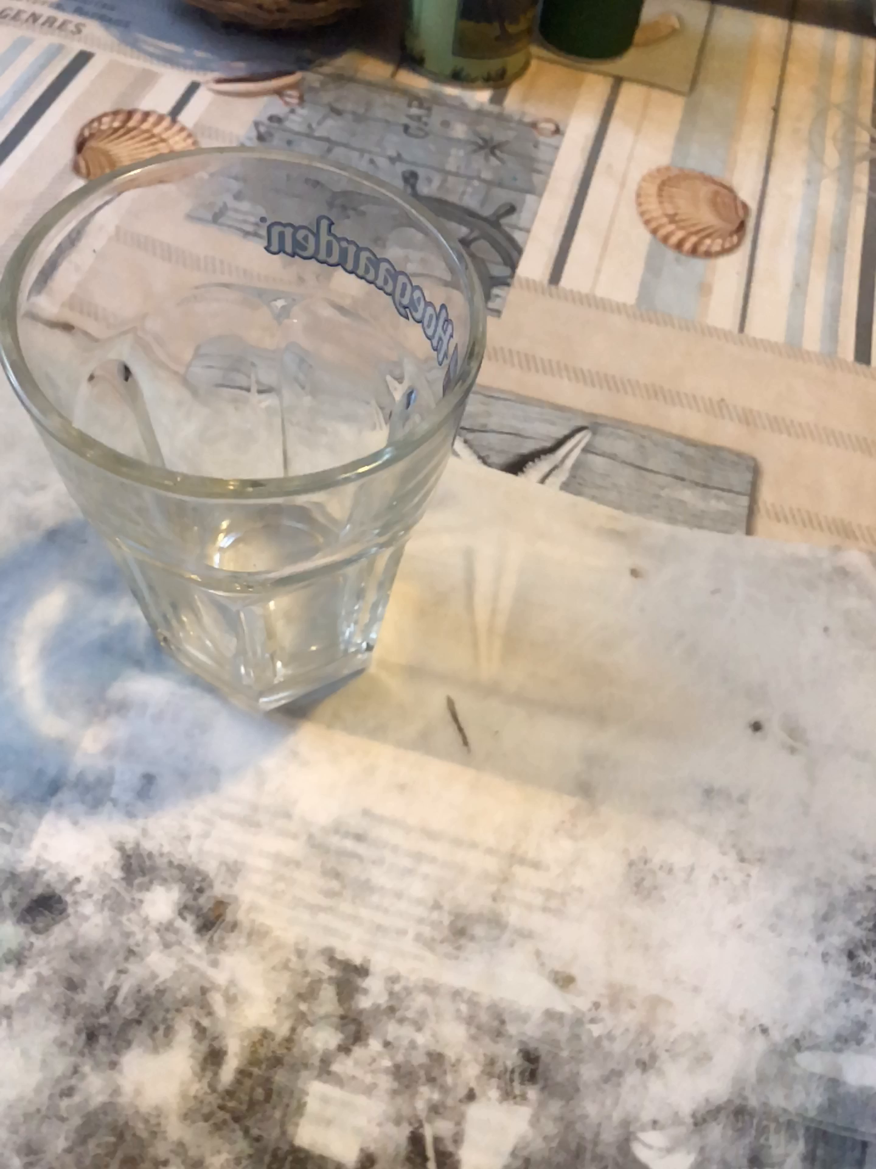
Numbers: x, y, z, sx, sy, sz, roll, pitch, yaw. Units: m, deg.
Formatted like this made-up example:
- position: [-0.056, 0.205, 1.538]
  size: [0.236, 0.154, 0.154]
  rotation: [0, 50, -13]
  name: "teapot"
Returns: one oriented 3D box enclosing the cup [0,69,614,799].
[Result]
- position: [-0.040, -0.031, 0.250]
  size: [0.099, 0.123, 0.099]
  rotation: [4, 61, -8]
  name: "cup"
